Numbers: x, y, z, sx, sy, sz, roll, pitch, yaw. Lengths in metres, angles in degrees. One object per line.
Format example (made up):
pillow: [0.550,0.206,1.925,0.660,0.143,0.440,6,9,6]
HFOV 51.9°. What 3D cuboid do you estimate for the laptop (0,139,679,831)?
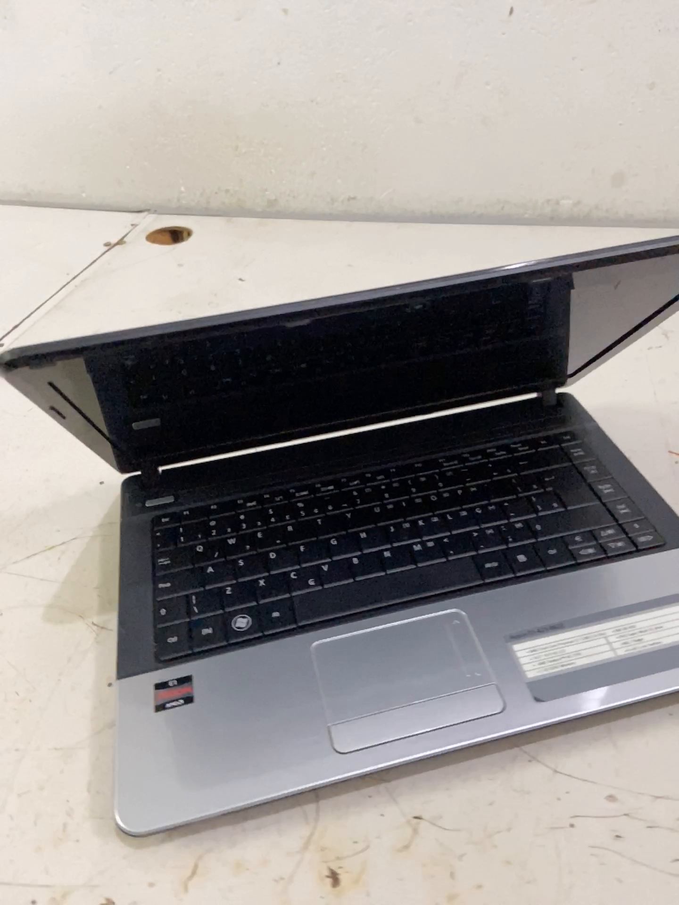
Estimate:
laptop: [0.034,-0.011,0.360,0.334,0.184,0.239,-11,40,-9]
